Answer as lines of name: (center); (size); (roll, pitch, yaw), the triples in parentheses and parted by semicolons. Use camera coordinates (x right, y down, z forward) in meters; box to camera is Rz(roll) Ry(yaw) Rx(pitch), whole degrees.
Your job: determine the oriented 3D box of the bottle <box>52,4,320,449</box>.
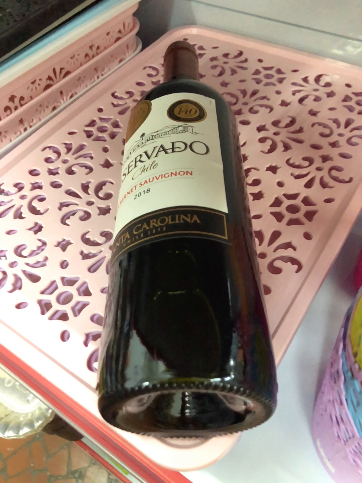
bottle: (0.003, -0.059, 0.255); (0.080, 0.060, 0.332); (-3, 47, 3)
